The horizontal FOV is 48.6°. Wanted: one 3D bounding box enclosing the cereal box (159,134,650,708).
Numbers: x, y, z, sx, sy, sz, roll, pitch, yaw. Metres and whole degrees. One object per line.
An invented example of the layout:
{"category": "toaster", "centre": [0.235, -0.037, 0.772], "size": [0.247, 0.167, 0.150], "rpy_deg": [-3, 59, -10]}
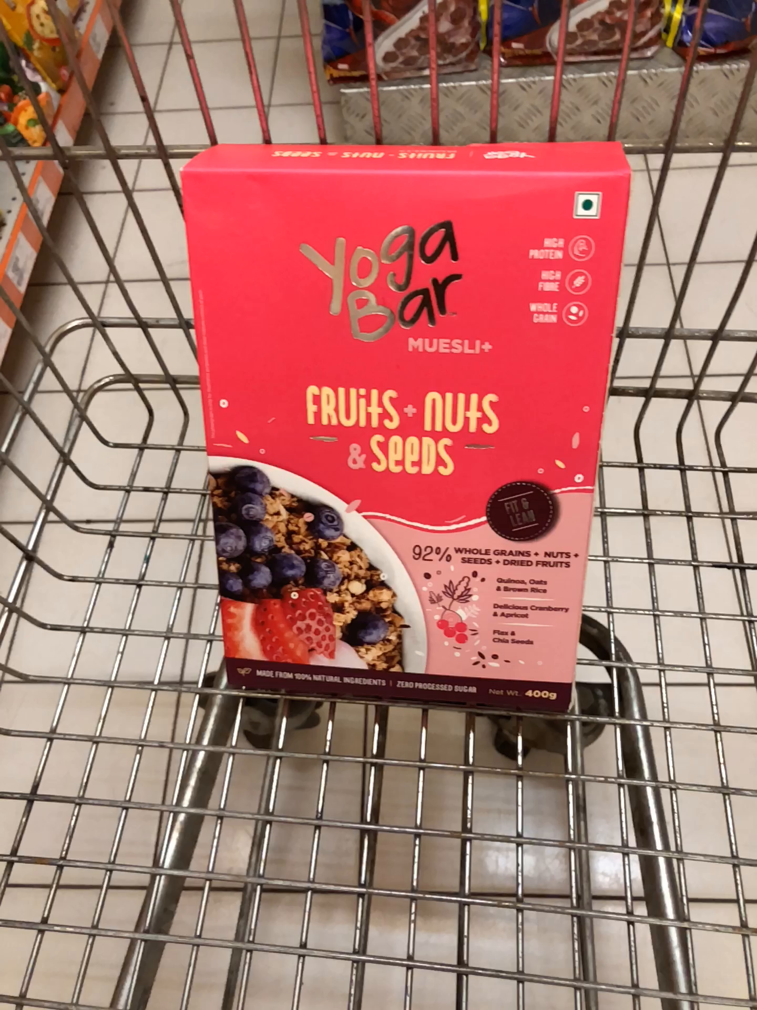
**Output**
{"category": "cereal box", "centre": [0.011, -0.031, 0.370], "size": [0.170, 0.239, 0.060], "rpy_deg": [3, 28, 7]}
